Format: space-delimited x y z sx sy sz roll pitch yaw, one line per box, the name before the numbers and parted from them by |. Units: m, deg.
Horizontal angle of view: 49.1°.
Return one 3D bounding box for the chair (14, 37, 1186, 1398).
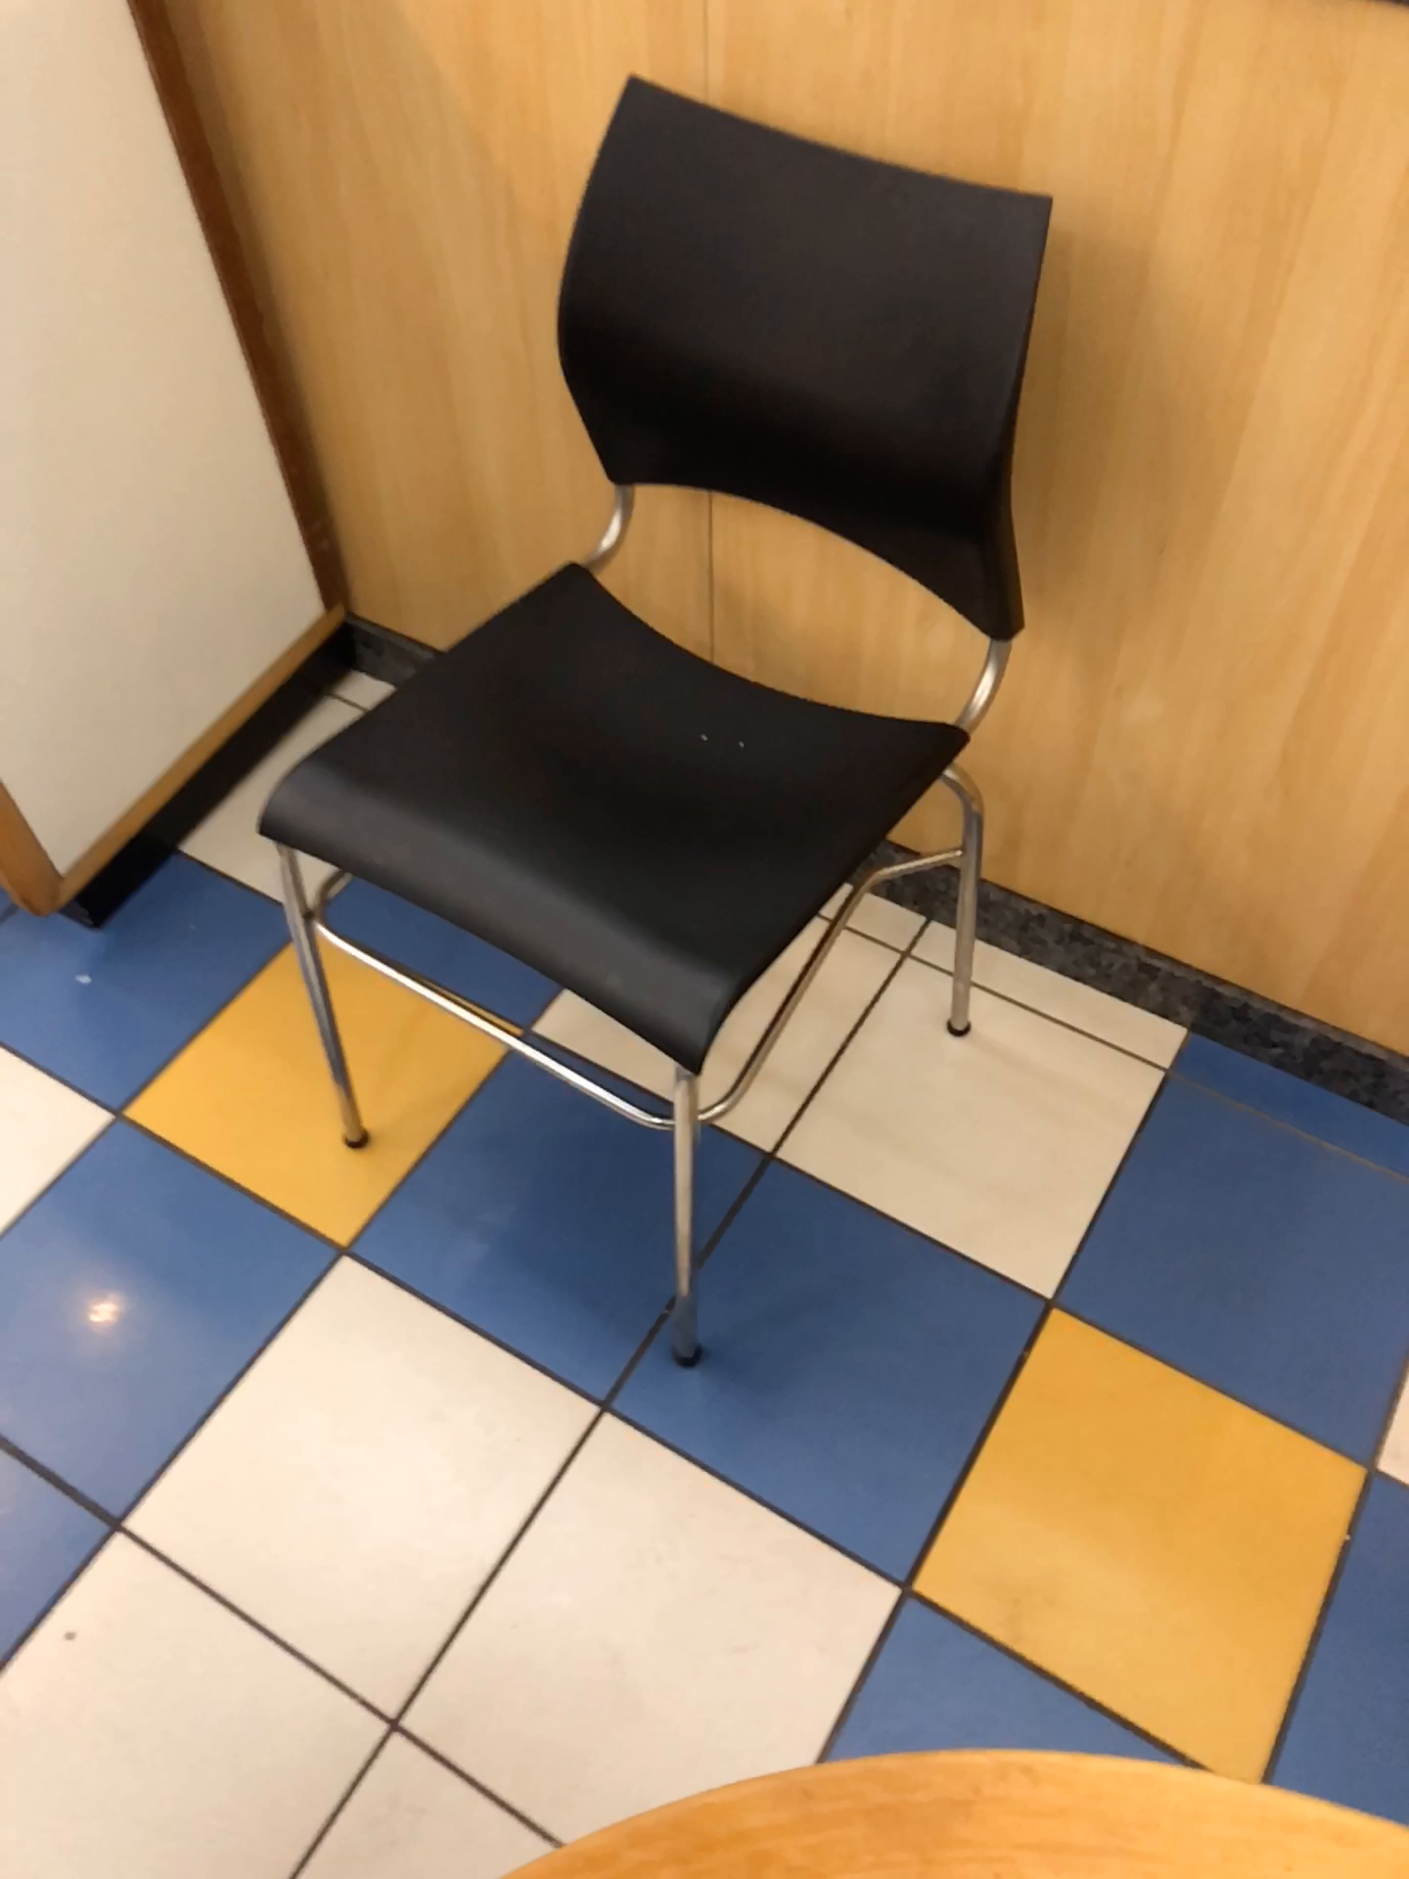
chair | -0.041 -0.142 1.312 0.511 0.874 0.552 28 57 21
